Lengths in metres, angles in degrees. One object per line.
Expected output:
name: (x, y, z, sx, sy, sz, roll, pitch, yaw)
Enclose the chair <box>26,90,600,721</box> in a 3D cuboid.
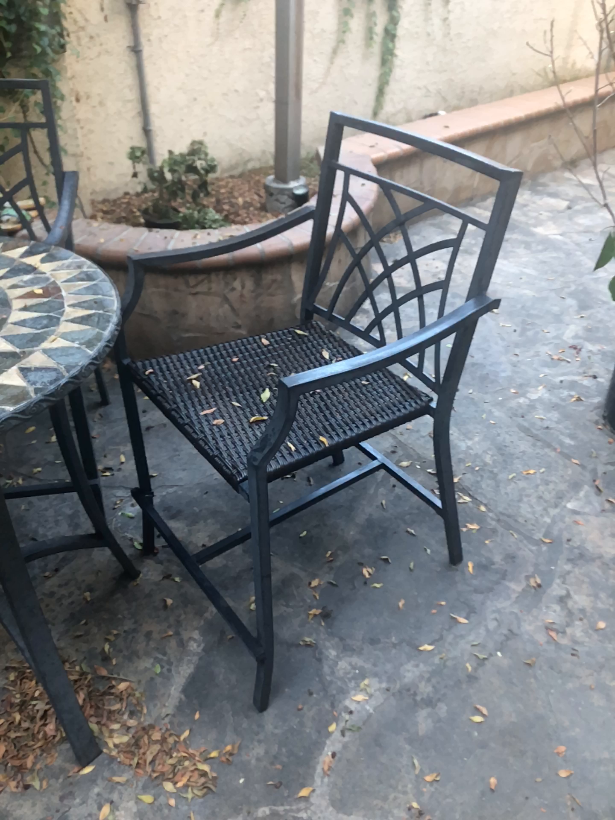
chair: (-0.021, -0.066, 1.400, 0.694, 0.912, 0.682, -23, 43, -30)
